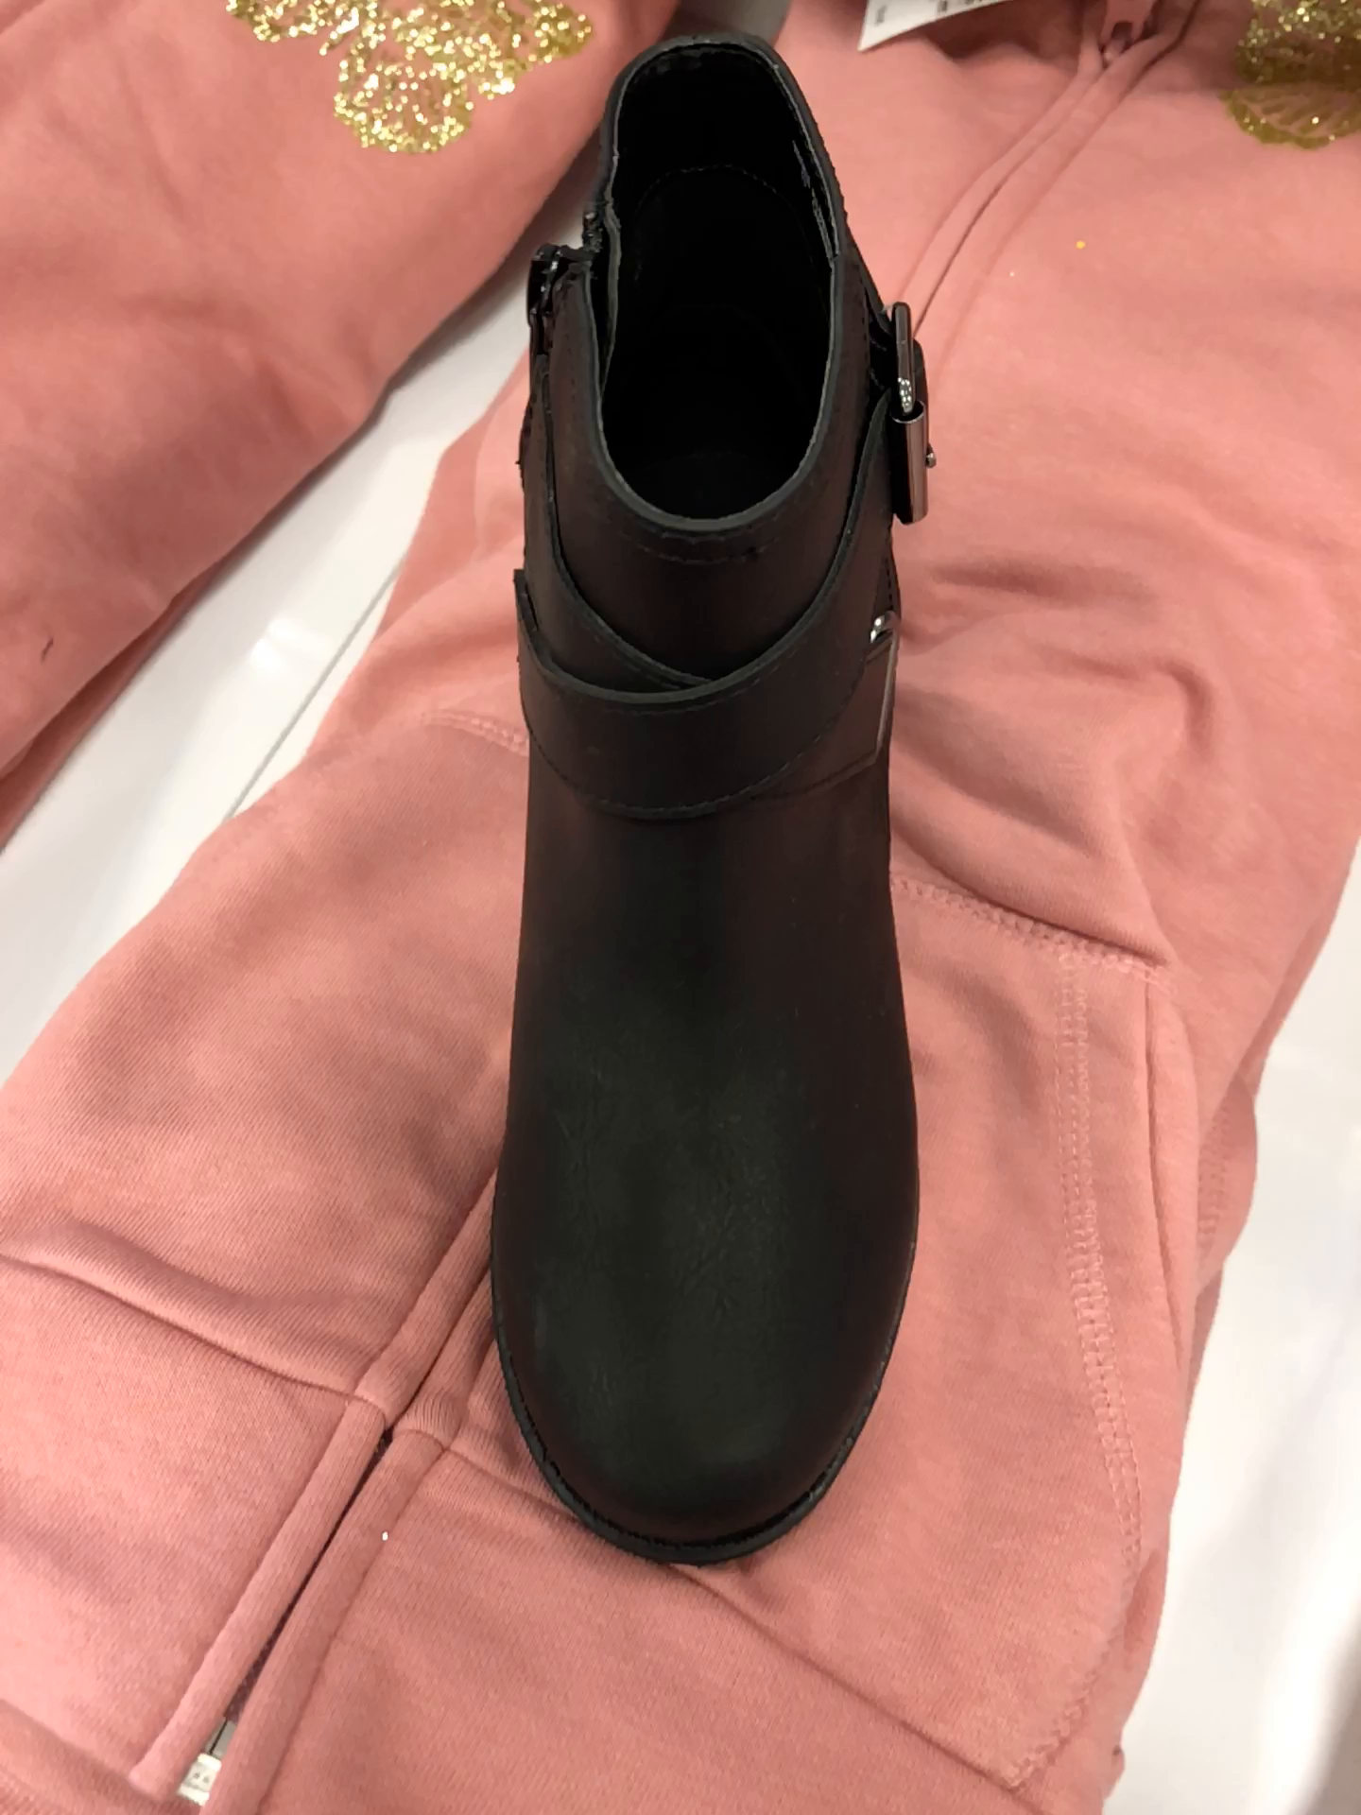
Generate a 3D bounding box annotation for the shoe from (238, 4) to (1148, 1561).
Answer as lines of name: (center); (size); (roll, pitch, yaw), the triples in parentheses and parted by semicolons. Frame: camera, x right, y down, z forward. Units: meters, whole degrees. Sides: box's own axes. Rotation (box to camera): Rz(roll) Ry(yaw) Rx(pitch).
shoe: (0.002, -0.010, 0.234); (0.080, 0.130, 0.200); (0, 66, 1)
